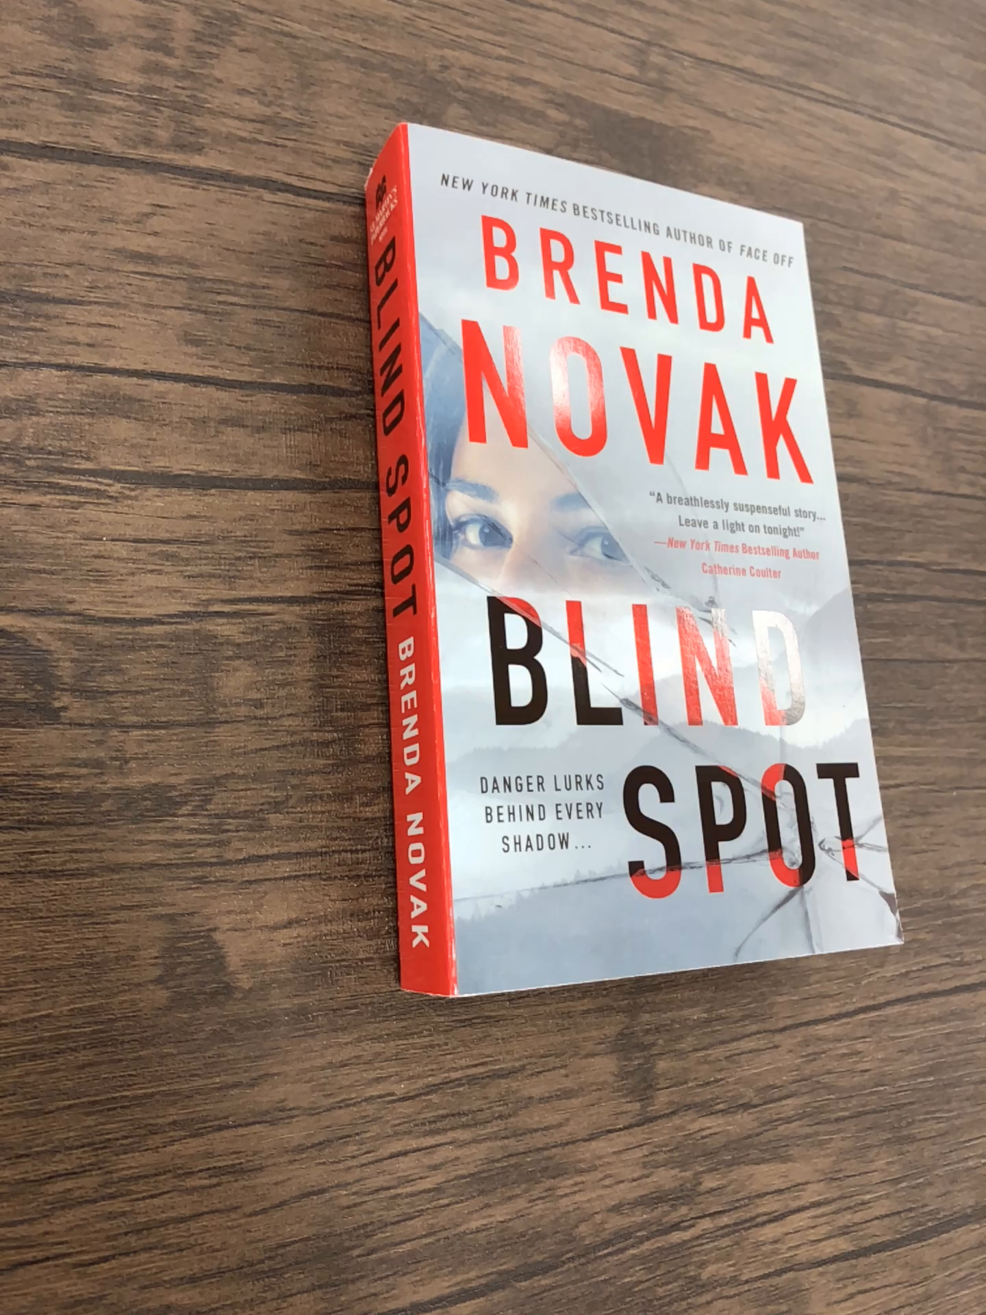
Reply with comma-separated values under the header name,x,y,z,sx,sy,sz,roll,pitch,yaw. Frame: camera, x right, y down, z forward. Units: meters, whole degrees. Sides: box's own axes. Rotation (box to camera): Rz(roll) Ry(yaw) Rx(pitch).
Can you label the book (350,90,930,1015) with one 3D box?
name,x,y,z,sx,sy,sz,roll,pitch,yaw
book,0.031,-0.021,0.244,0.110,0.038,0.175,2,78,-28
